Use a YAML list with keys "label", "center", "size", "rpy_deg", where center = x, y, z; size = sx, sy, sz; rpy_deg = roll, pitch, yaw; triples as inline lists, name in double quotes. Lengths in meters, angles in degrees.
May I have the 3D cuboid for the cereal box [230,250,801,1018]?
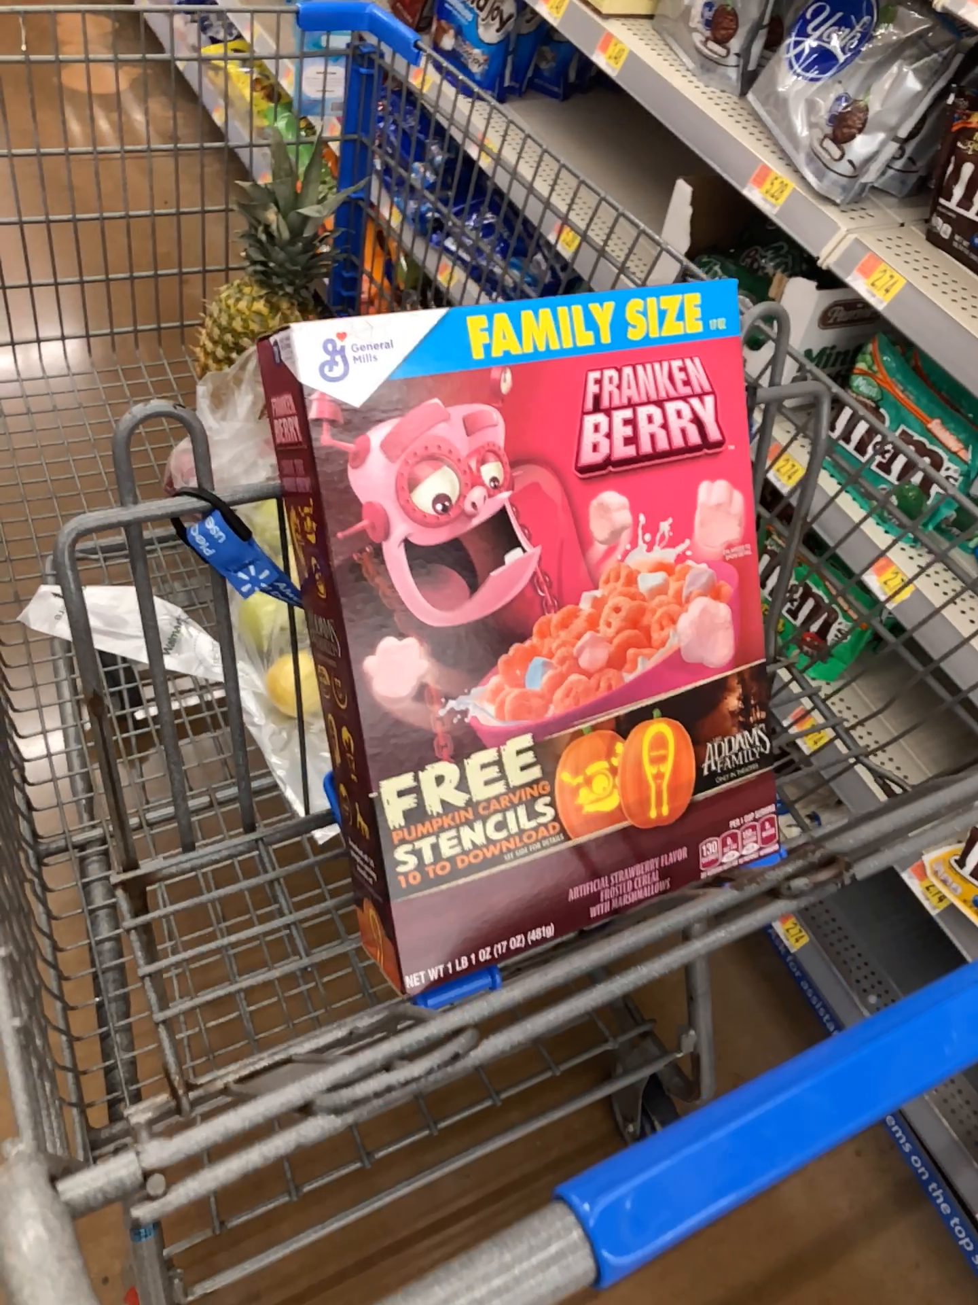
- label: "cereal box"
  center: [0.027, -0.018, 0.539]
  size: [0.240, 0.320, 0.070]
  rpy_deg: [-14, 15, -24]
